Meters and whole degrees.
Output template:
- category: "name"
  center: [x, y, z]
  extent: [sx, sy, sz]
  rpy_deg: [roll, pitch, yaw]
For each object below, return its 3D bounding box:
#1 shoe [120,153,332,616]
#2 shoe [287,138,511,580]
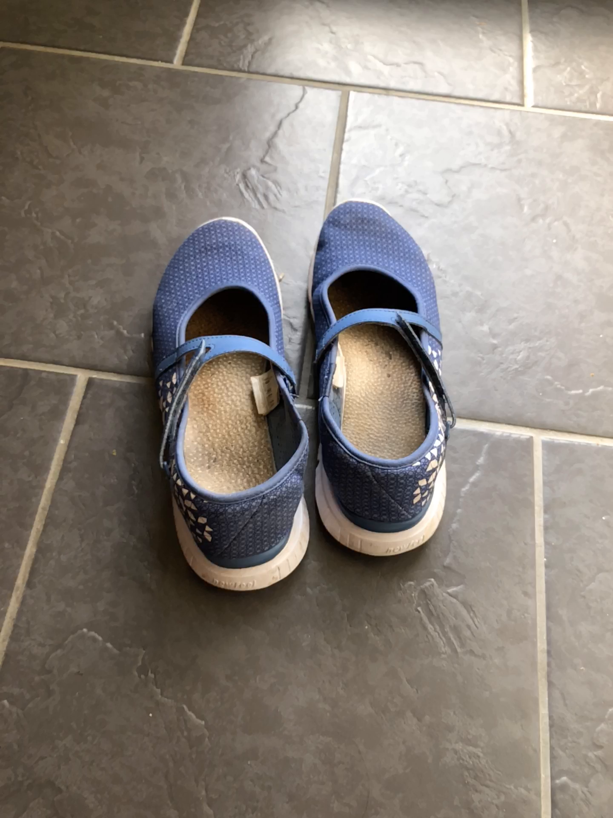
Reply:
- category: "shoe"
  center: [-0.060, -0.021, 0.470]
  extent: [0.110, 0.120, 0.291]
  rpy_deg: [-5, 65, -5]
- category: "shoe"
  center: [0.047, -0.039, 0.483]
  extent: [0.110, 0.120, 0.291]
  rpy_deg: [-2, 64, -3]
